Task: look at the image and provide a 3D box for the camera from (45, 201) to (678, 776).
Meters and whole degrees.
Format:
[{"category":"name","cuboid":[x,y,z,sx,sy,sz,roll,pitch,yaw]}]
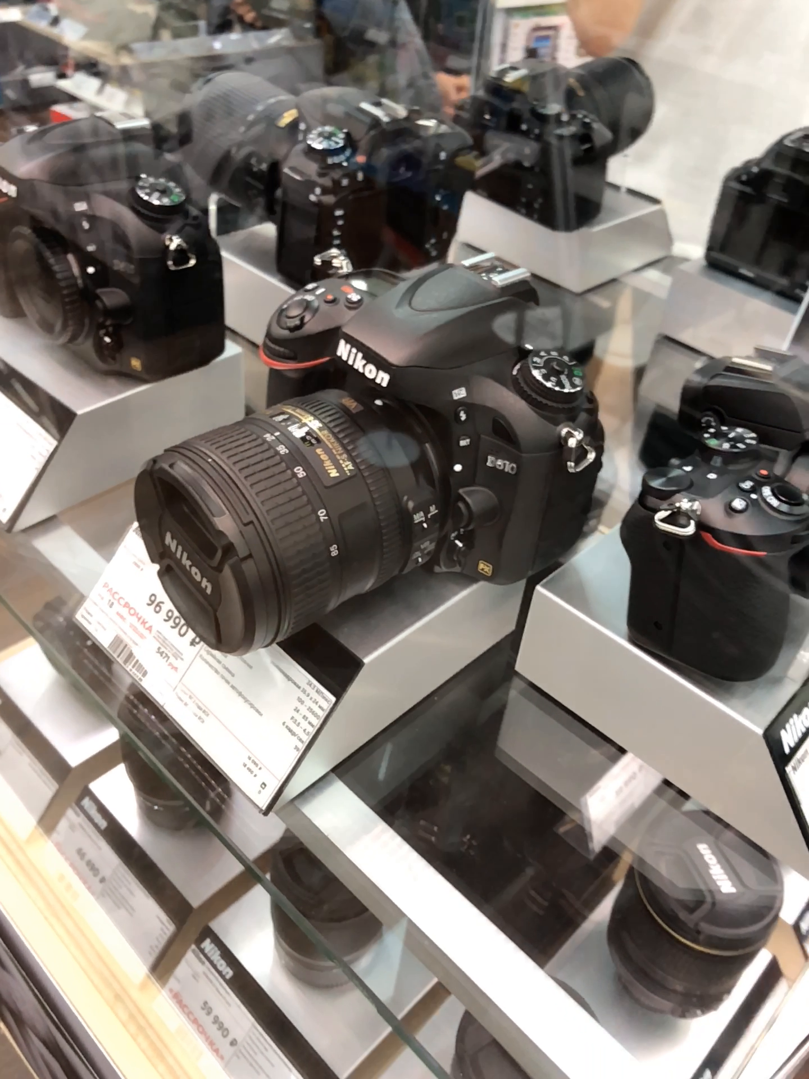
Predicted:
[{"category":"camera","cuboid":[-0.020,-0.034,0.330,0.150,0.109,0.148,-24,49,-32]}]
